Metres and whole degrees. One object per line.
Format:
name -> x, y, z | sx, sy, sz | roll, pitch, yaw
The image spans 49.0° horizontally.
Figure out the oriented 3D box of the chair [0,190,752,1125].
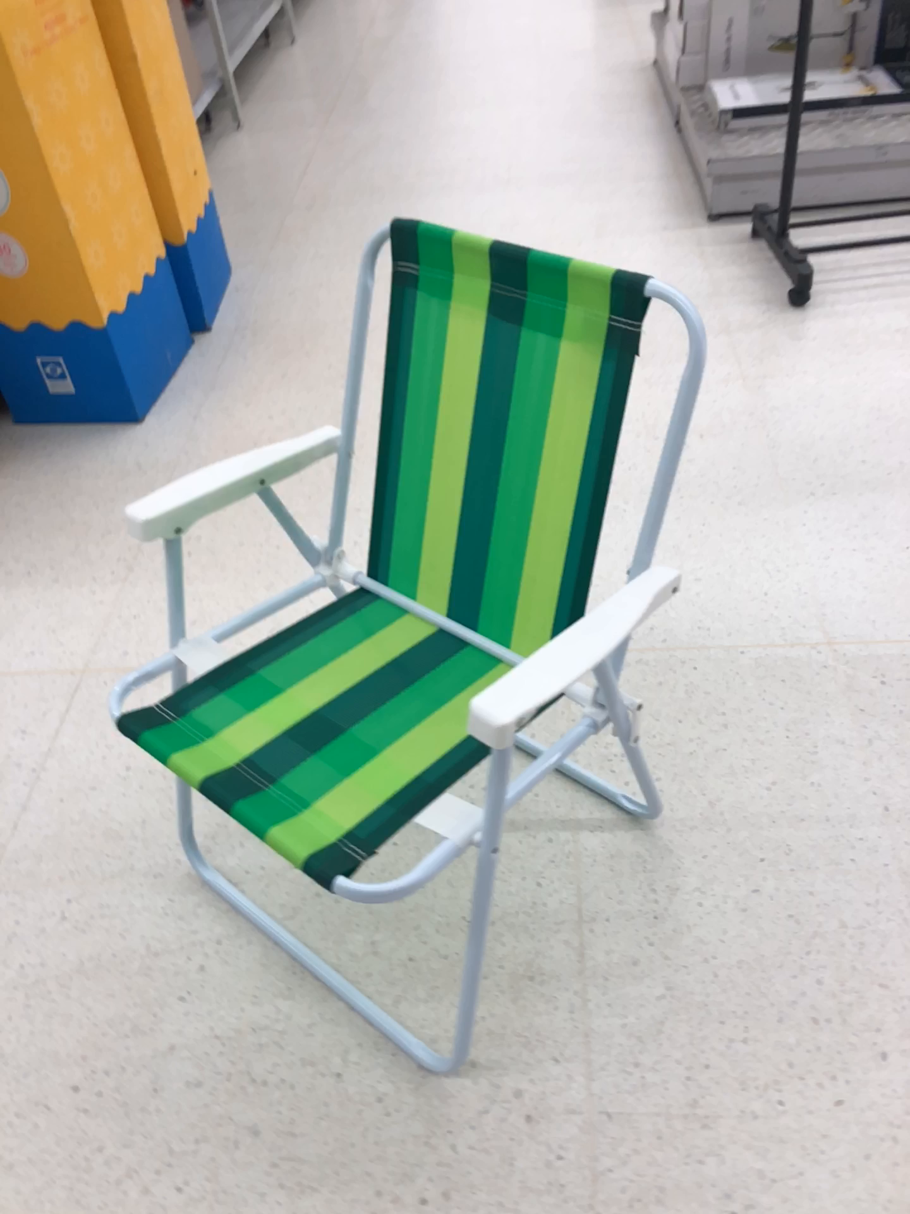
chair -> -0.073, 0.035, 1.090 | 0.512, 0.715, 0.522 | 27, 52, 33
